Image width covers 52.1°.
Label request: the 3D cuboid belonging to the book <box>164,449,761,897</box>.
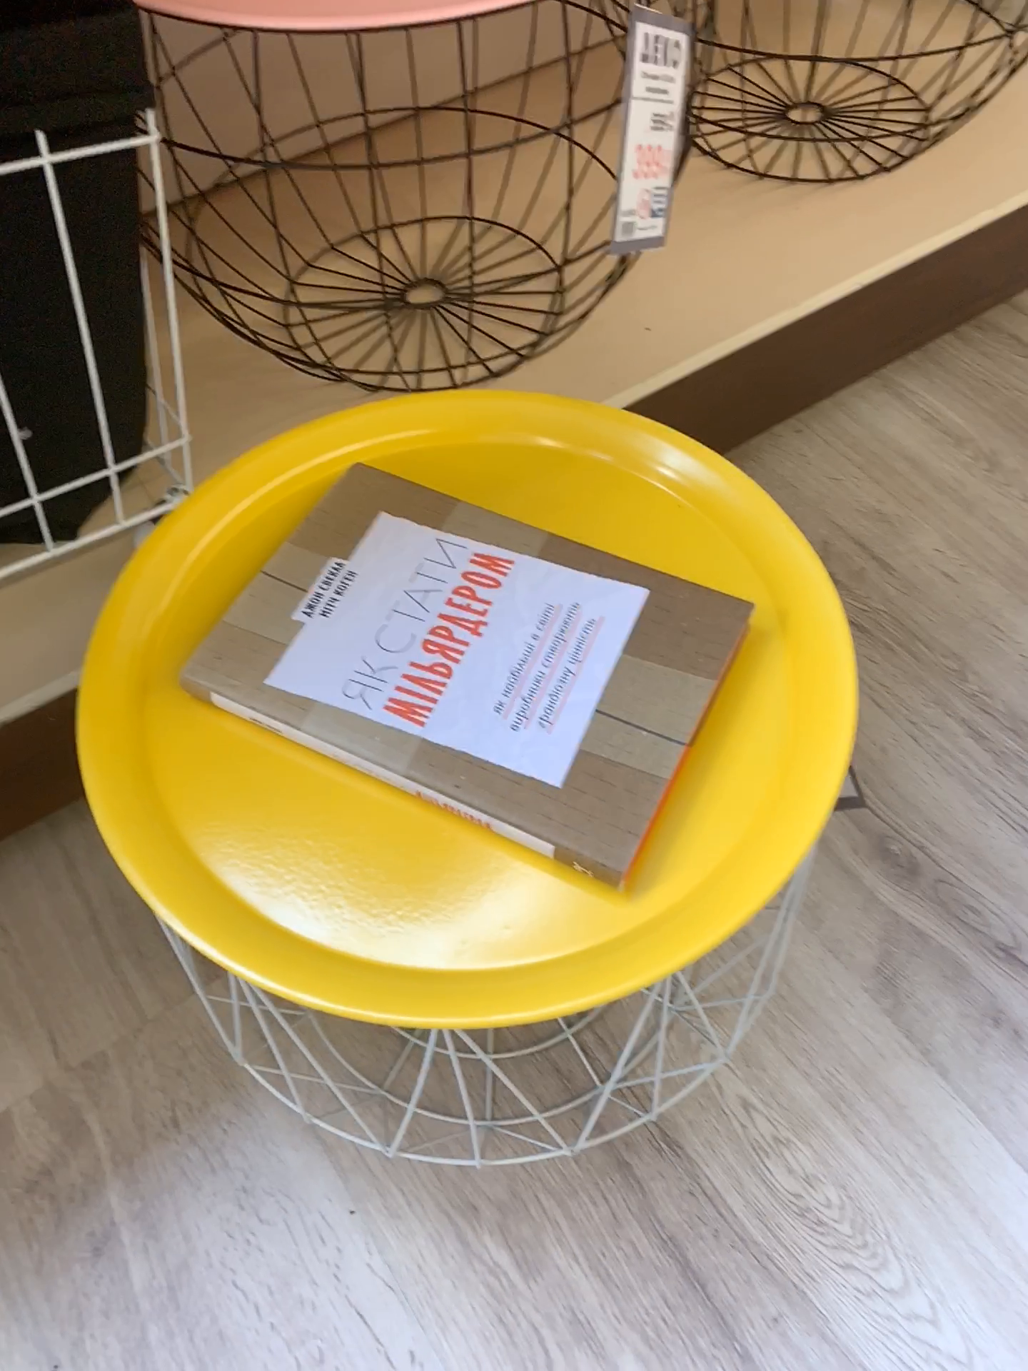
[{"bbox_3d":[-0.021,-0.020,0.514,0.236,0.020,0.170,21,59,15],"label":"book"}]
